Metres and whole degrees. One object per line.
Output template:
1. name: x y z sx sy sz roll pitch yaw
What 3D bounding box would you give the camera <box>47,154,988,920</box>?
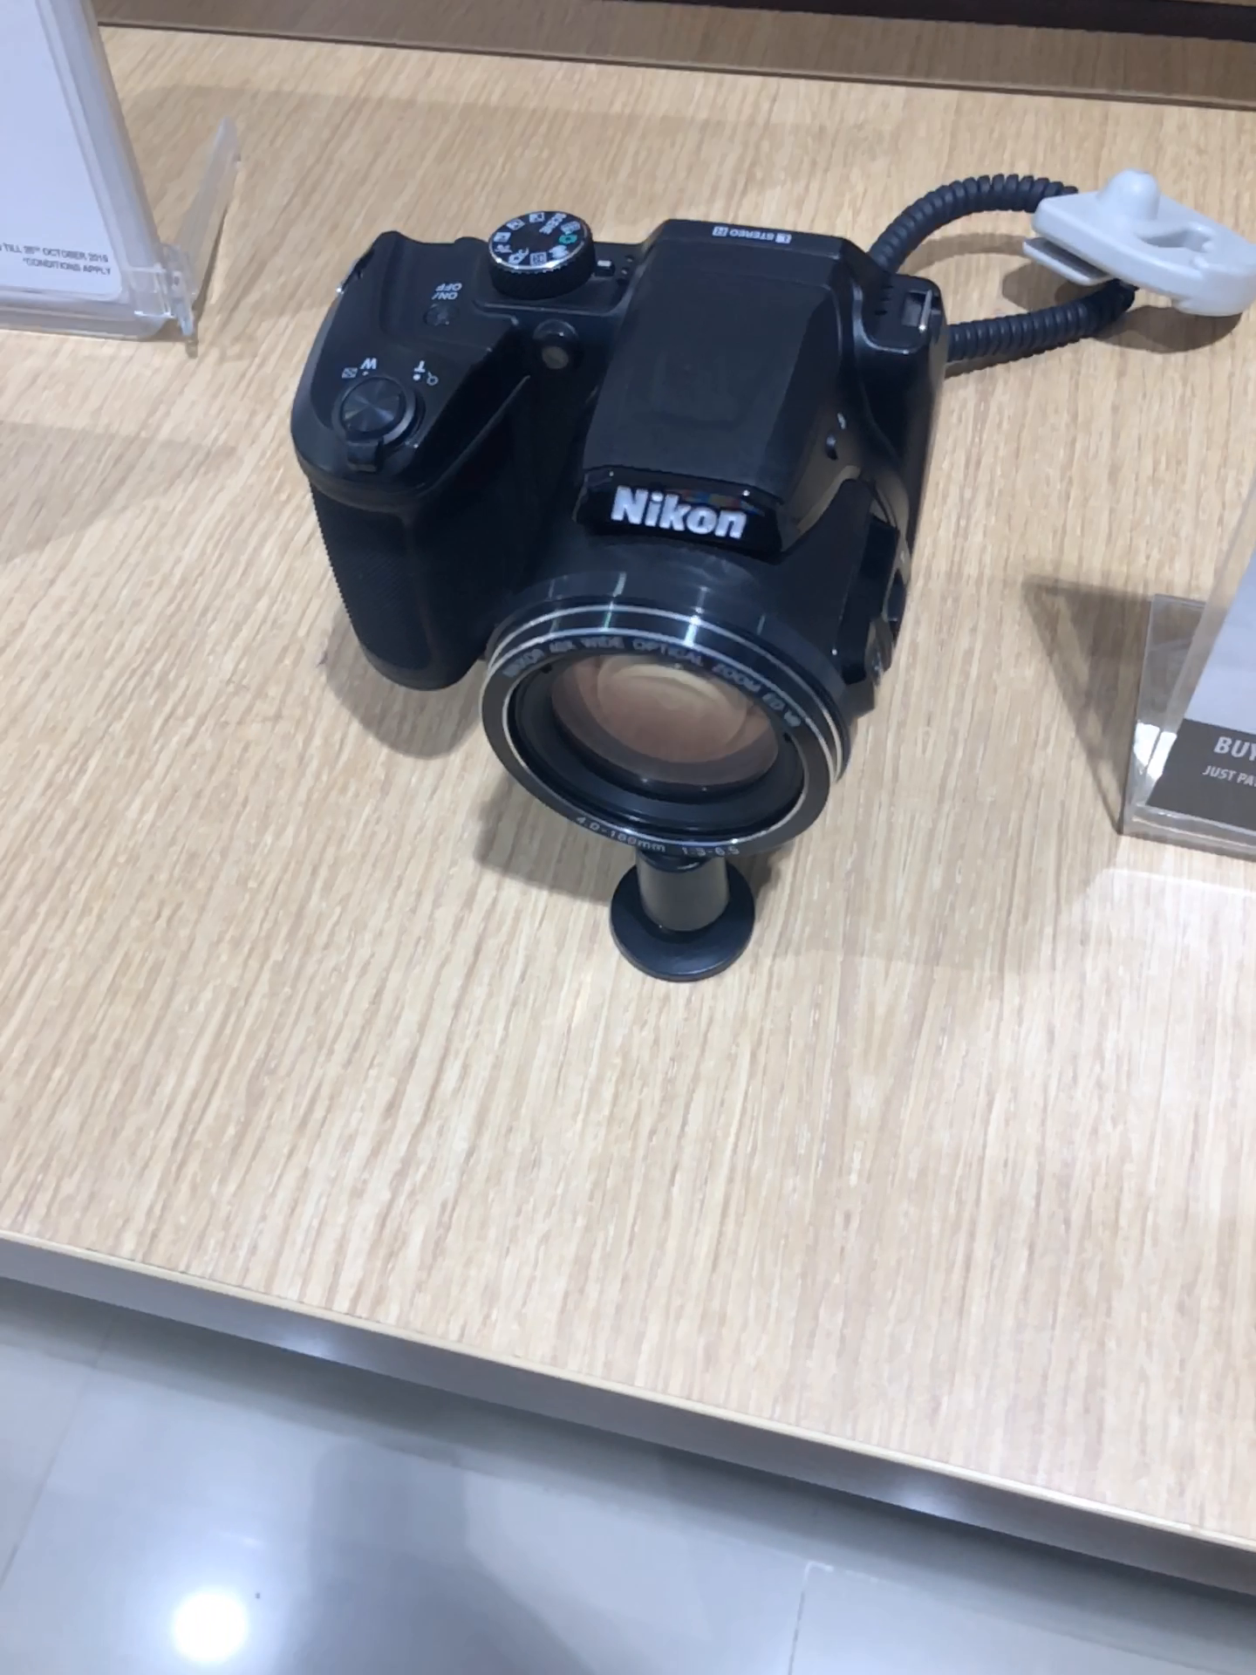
1. camera: -0.010 -0.052 0.235 0.120 0.070 0.090 9 59 10
